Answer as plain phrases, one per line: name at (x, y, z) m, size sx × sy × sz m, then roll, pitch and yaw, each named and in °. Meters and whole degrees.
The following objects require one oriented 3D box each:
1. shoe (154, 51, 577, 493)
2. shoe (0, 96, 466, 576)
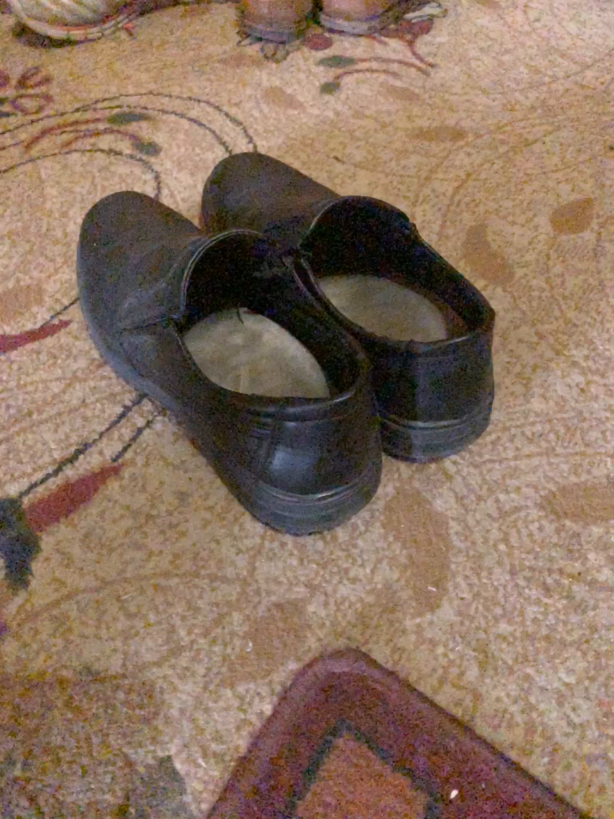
shoe at (0.013, -0.105, 0.402) m, size 0.100 × 0.099 × 0.291 m, roll -24°, pitch 57°, yaw -18°
shoe at (-0.062, -0.060, 0.369) m, size 0.100 × 0.099 × 0.291 m, roll -34°, pitch 61°, yaw -24°
